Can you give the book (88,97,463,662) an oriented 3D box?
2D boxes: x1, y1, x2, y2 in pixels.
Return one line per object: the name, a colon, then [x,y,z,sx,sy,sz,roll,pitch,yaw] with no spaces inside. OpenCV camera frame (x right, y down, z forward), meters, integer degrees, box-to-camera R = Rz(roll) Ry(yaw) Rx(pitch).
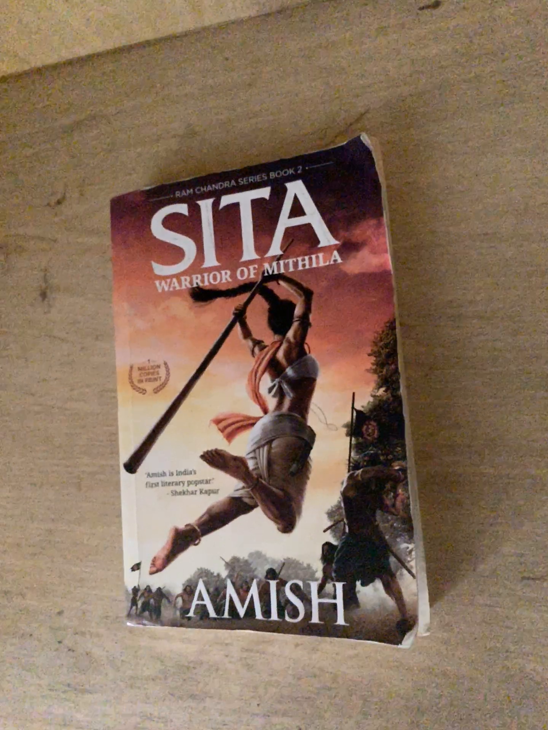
book: [-0.007,0.007,0.237,0.140,0.030,0.200,-7,81,18]
